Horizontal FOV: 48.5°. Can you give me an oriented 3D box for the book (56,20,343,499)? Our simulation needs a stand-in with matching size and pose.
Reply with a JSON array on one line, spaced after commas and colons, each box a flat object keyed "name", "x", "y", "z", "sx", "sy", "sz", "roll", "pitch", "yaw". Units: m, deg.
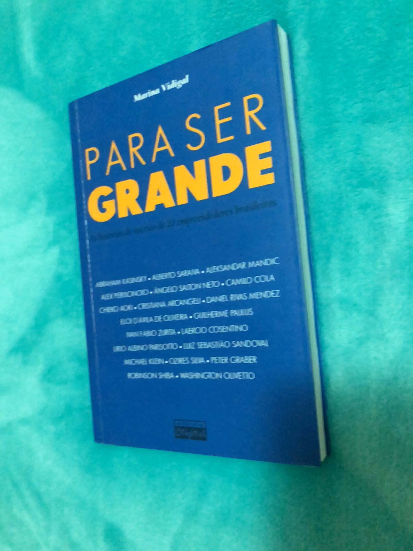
[{"name": "book", "x": -0.012, "y": -0.003, "z": 0.241, "sx": 0.140, "sy": 0.030, "sz": 0.200, "roll": -6, "pitch": 88, "yaw": 32}]
